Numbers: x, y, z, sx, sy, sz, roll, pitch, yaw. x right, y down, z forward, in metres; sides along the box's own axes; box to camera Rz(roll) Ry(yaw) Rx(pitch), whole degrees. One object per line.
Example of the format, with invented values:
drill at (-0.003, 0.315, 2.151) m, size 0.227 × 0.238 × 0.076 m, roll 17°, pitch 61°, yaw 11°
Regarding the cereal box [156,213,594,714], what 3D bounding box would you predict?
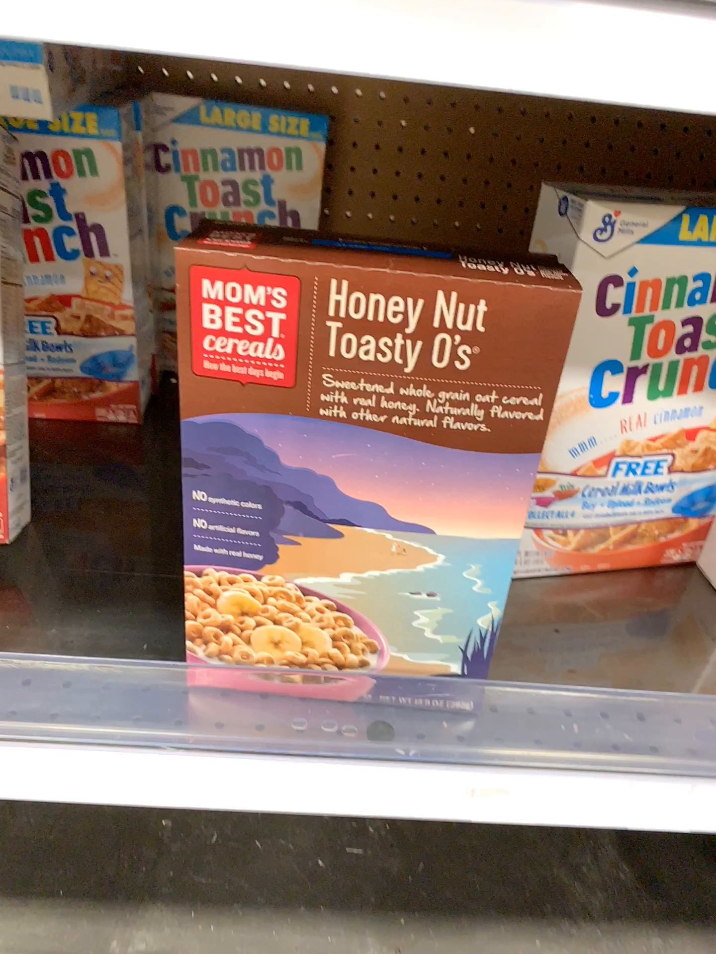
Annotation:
cereal box at (-0.003, 0.006, 0.434) m, size 0.200 × 0.279 × 0.070 m, roll 5°, pitch 30°, yaw -1°
